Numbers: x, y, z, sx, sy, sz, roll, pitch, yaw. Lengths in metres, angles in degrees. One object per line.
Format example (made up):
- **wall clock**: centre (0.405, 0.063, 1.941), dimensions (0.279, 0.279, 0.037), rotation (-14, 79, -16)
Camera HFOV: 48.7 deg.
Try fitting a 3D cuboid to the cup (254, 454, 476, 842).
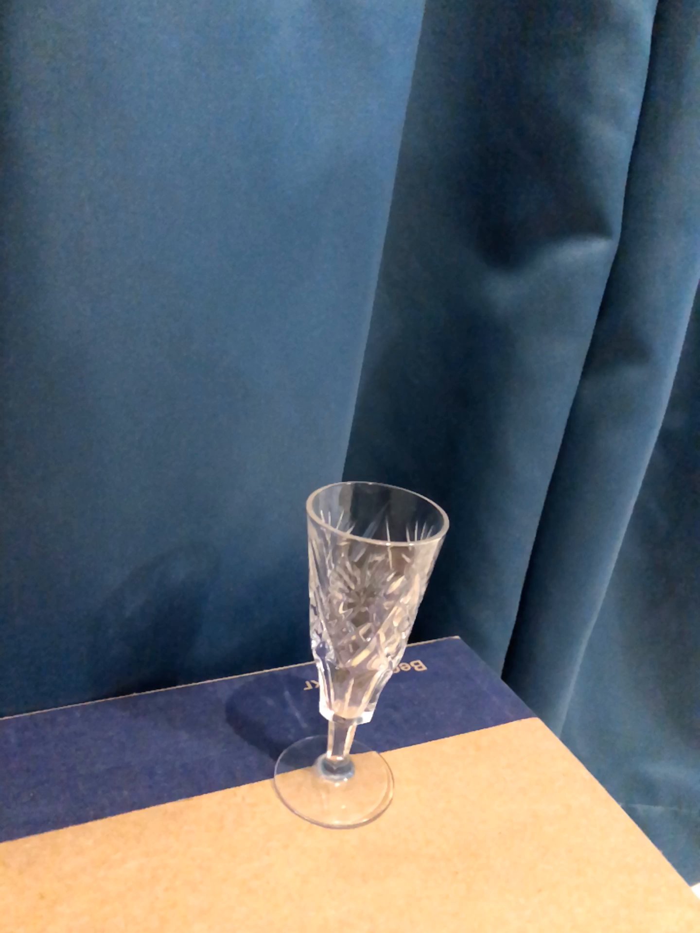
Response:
- **cup**: centre (0.001, 0.063, 0.267), dimensions (0.053, 0.119, 0.051), rotation (7, 23, -3)
